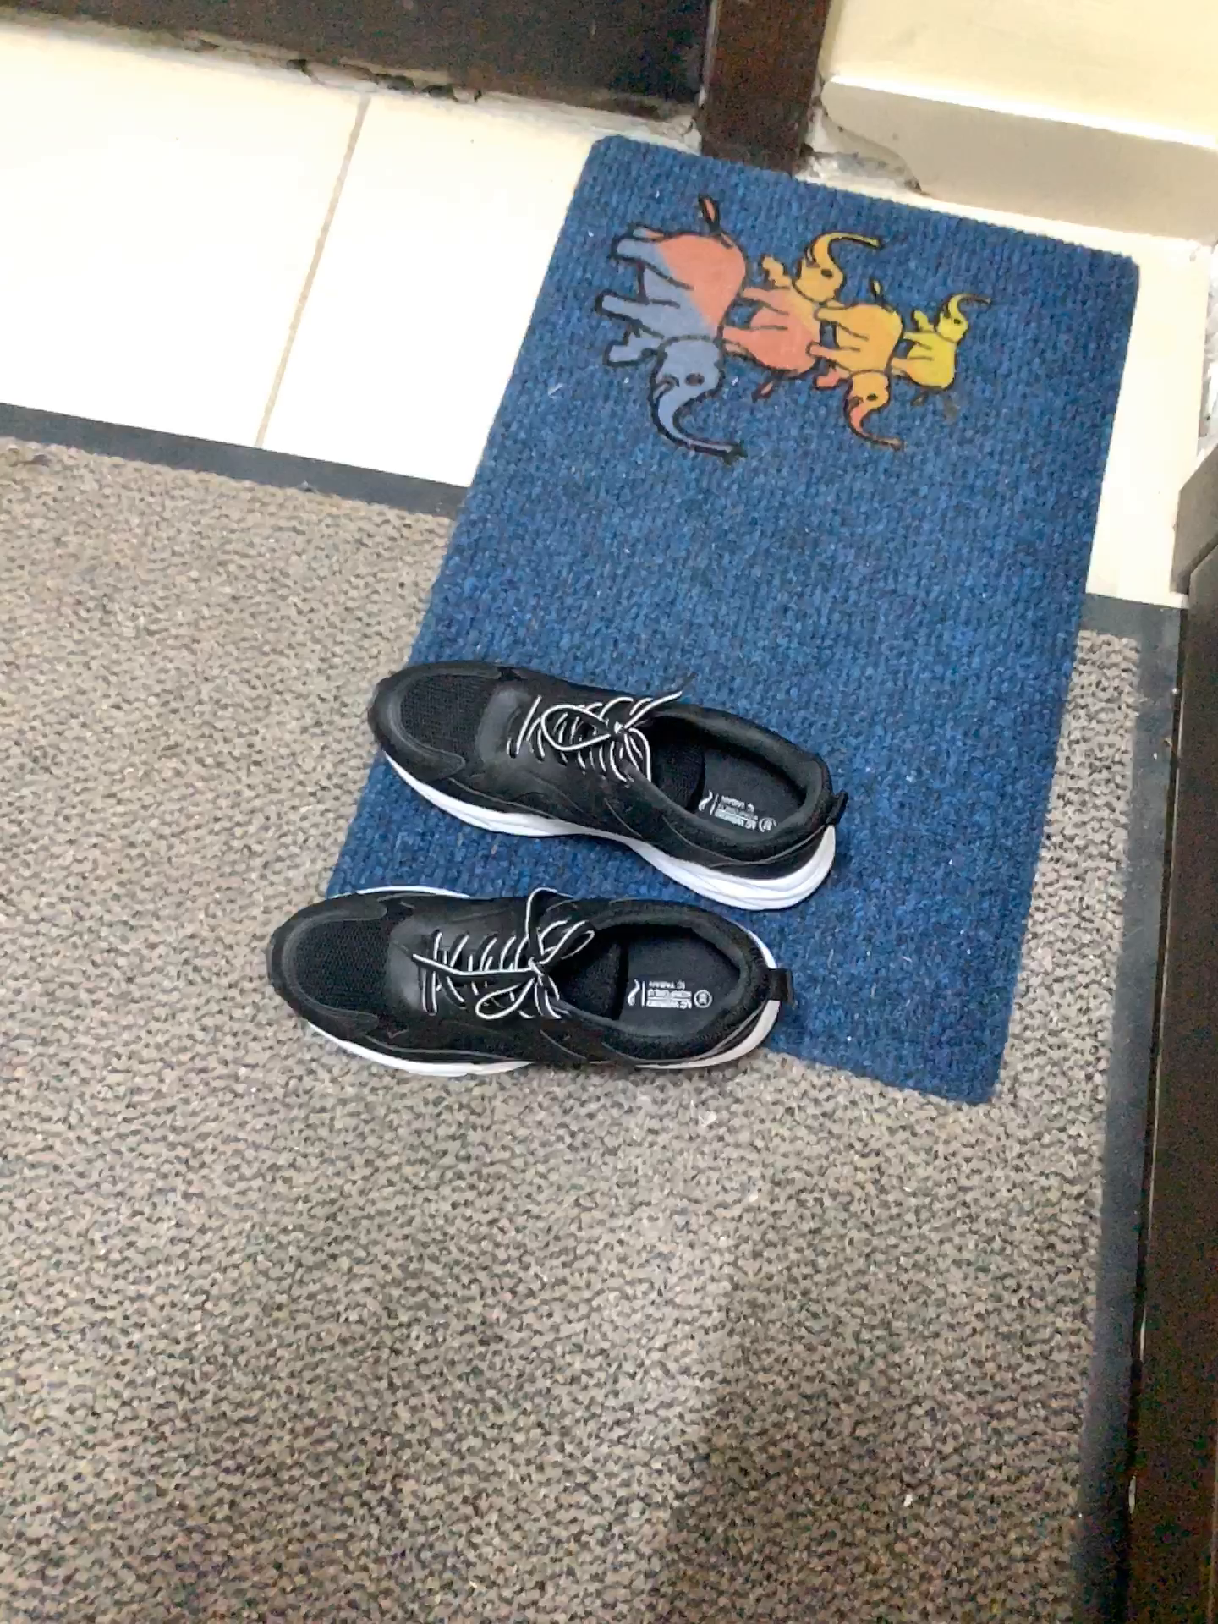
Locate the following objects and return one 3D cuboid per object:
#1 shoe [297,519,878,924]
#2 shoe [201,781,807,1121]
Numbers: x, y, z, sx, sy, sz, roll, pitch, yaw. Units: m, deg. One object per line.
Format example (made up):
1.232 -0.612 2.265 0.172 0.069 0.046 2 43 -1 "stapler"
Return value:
-0.010 -0.044 0.650 0.260 0.100 0.110 17 72 4 "shoe"
-0.046 0.072 0.615 0.260 0.100 0.110 9 72 1 "shoe"
